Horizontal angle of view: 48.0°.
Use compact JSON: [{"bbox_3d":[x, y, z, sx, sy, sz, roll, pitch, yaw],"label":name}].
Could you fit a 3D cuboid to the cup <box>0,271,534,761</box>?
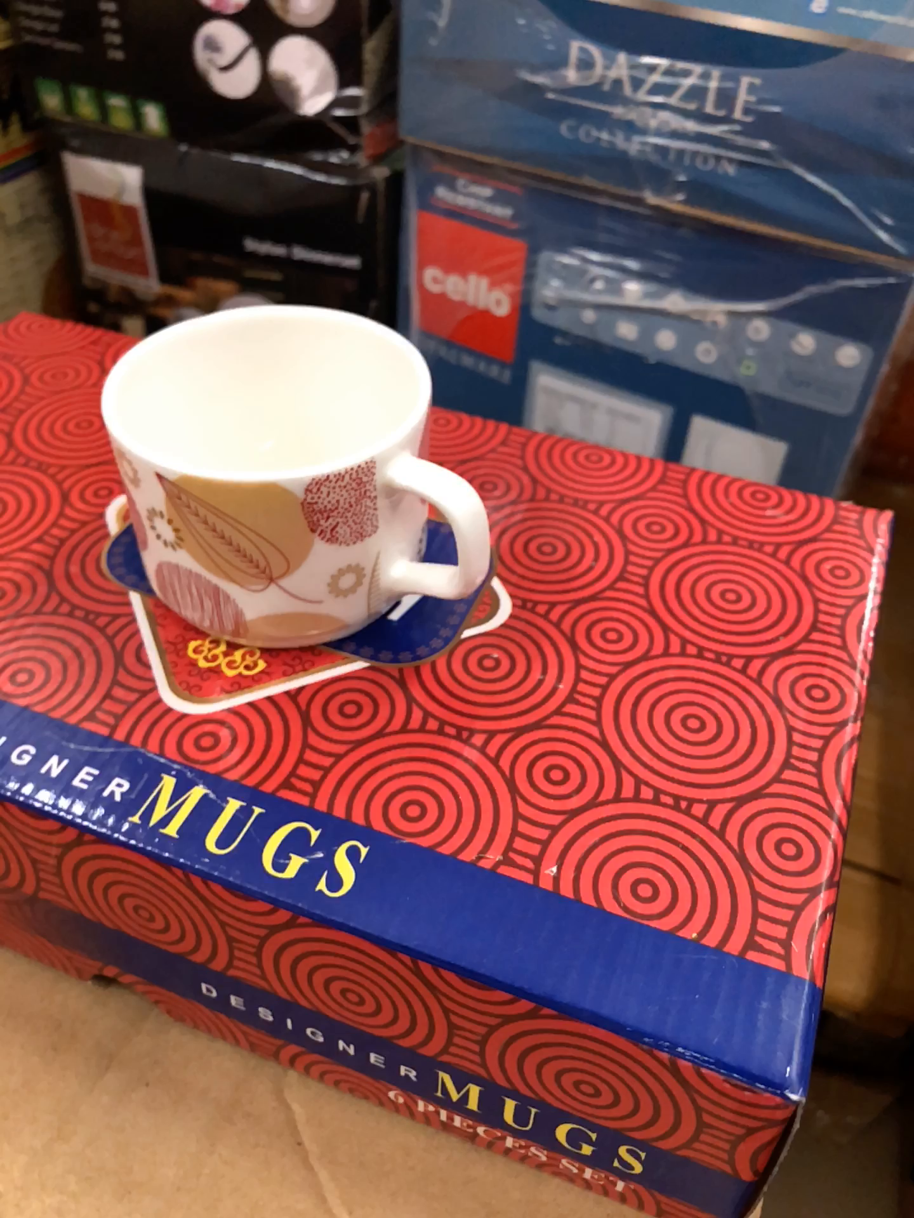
[{"bbox_3d":[-0.041,-0.025,0.220,0.090,0.050,0.071,21,45,16],"label":"cup"}]
